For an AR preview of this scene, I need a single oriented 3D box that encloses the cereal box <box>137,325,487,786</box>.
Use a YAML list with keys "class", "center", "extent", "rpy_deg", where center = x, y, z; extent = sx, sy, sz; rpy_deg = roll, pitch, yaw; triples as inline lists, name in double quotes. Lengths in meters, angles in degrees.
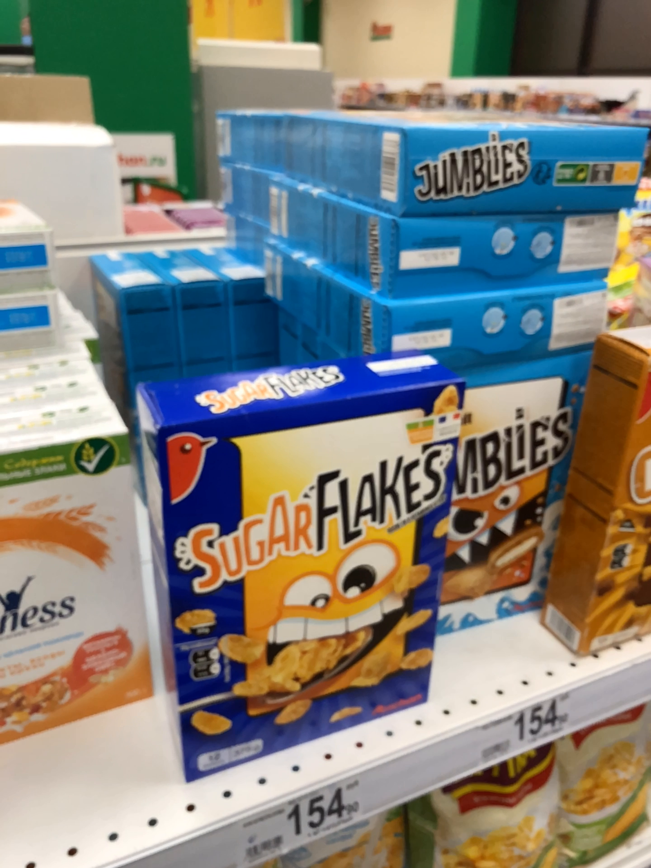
- class: "cereal box"
  center: [-0.009, 0.080, 0.497]
  extent: [0.200, 0.279, 0.070]
  rpy_deg: [-10, 27, -23]
